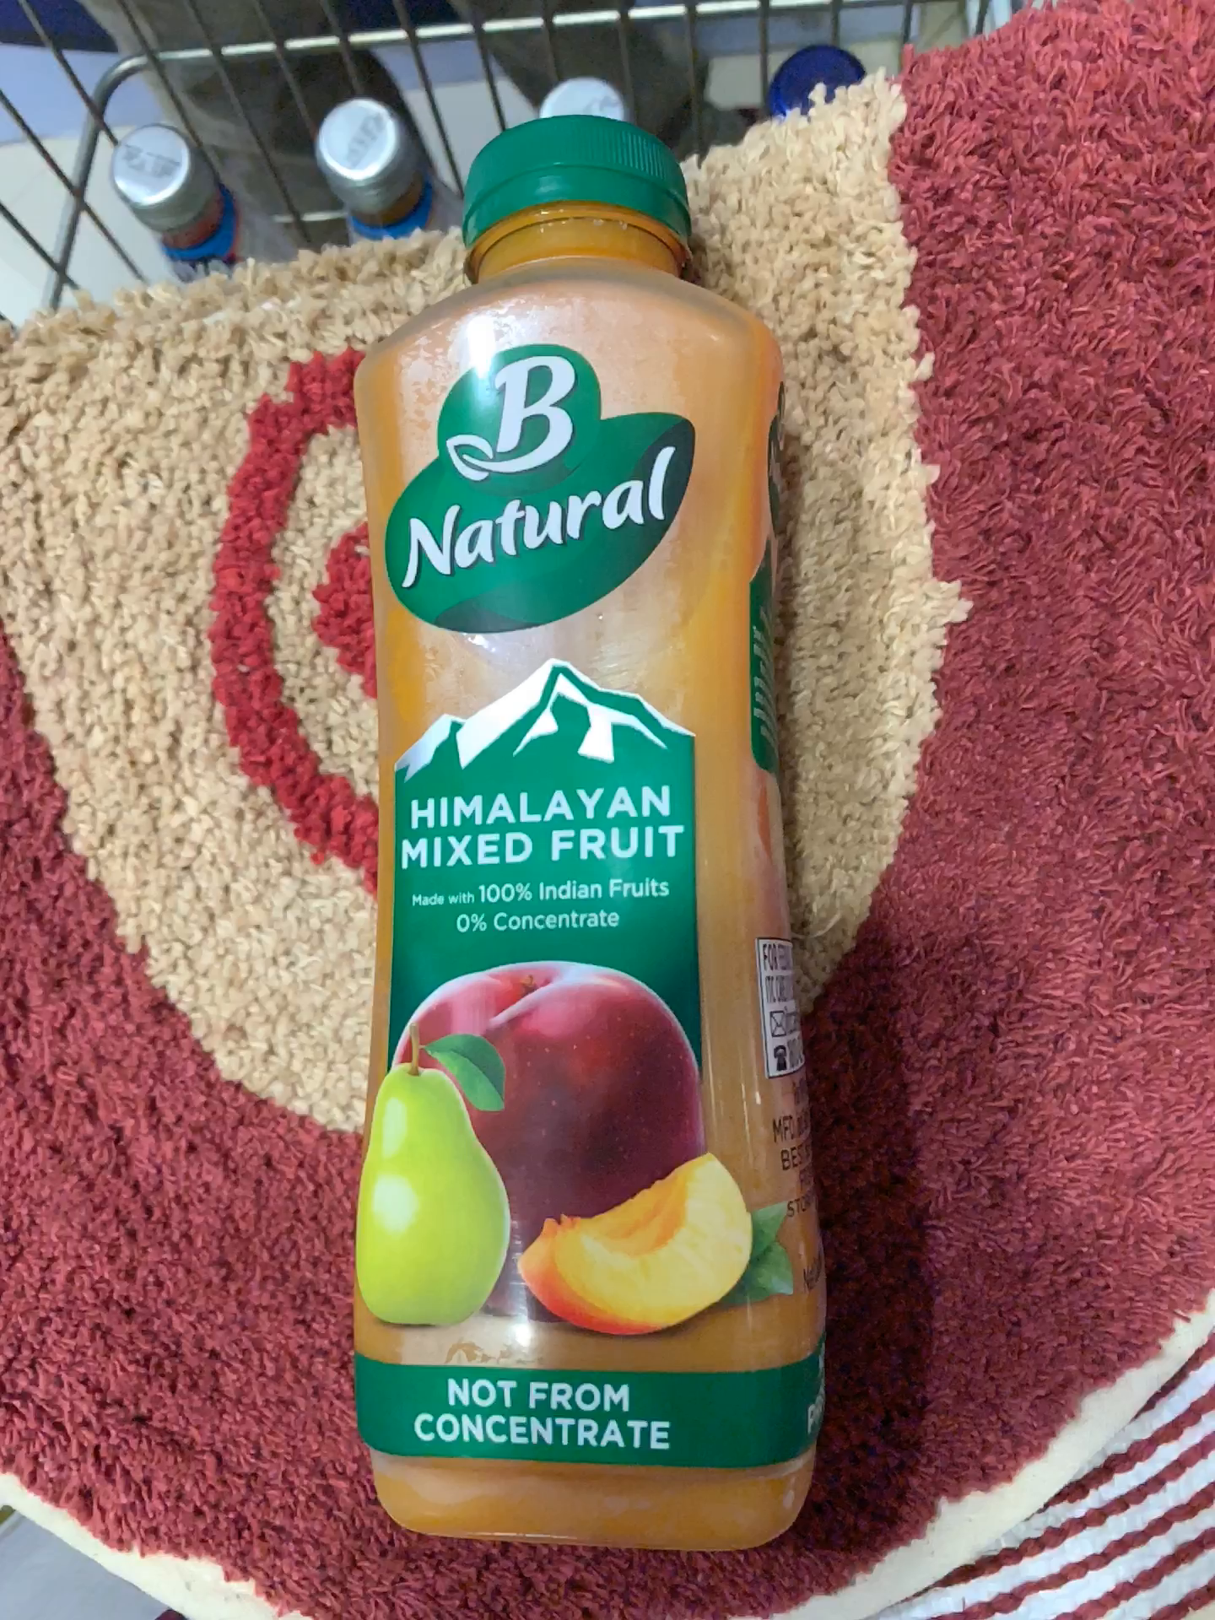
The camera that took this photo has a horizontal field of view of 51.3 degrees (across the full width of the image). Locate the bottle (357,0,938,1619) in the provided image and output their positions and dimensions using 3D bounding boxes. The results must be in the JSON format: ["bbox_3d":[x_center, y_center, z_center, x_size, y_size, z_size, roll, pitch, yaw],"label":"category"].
[{"bbox_3d":[0.009,-0.011,0.207,0.070,0.070,0.230,-2,79,9],"label":"bottle"}]
